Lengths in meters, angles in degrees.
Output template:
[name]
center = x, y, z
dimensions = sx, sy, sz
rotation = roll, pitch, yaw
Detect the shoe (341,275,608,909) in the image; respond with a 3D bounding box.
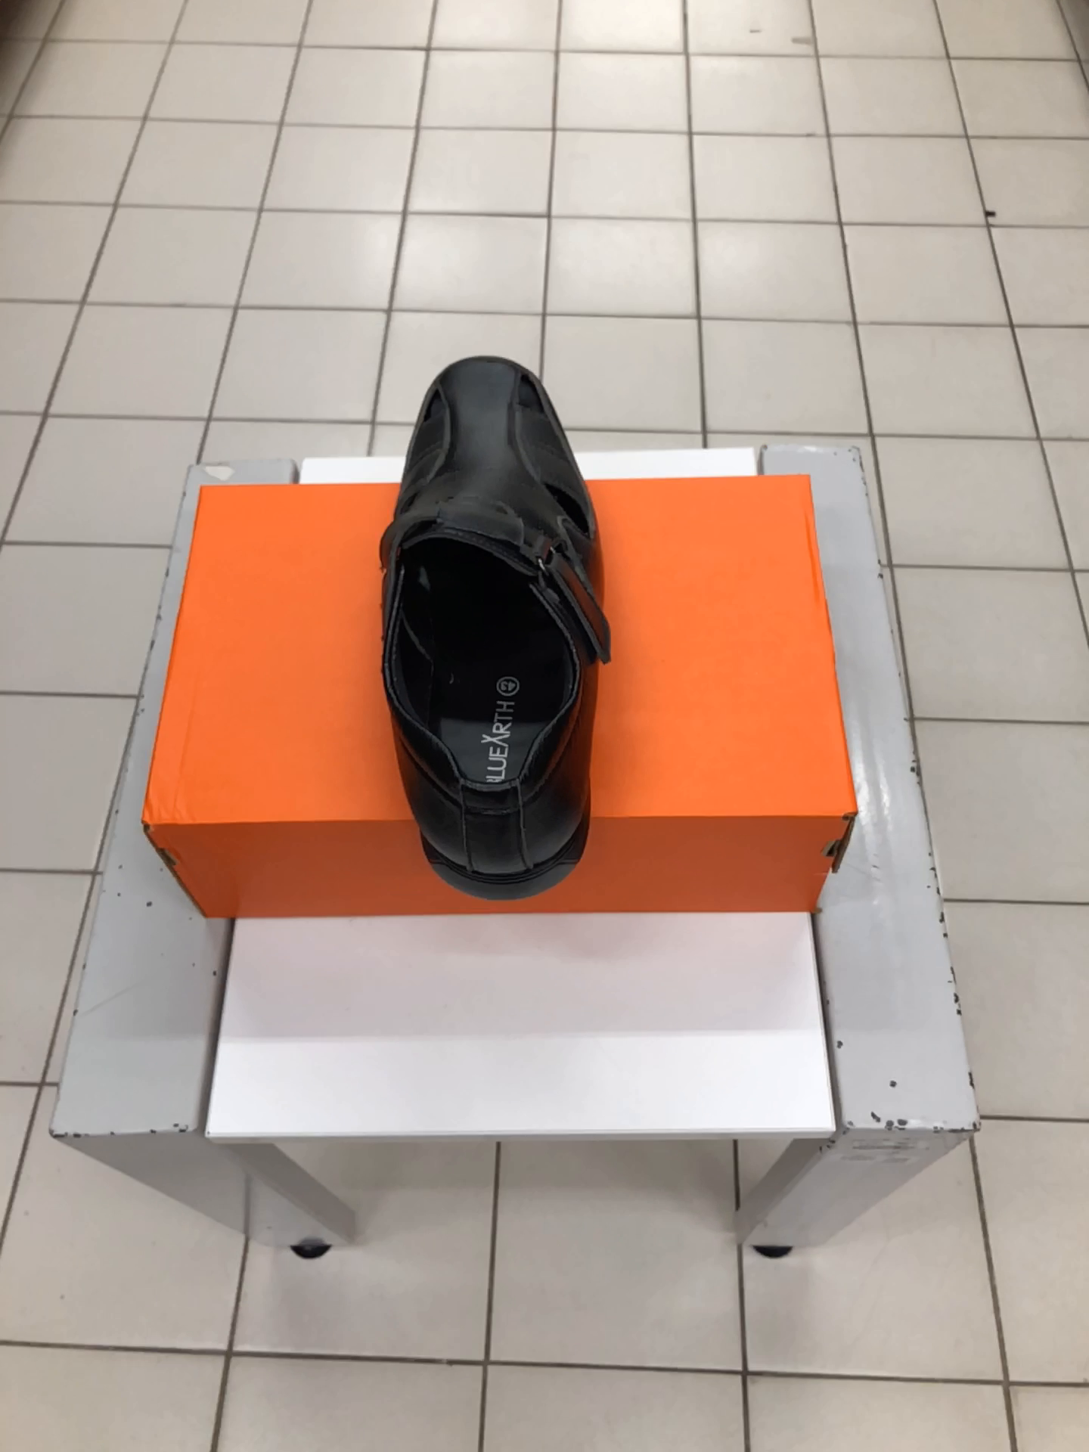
[shoe]
center = -0.027, -0.073, 0.572
dimensions = 0.100, 0.100, 0.301
rotation = 0, 58, 0
